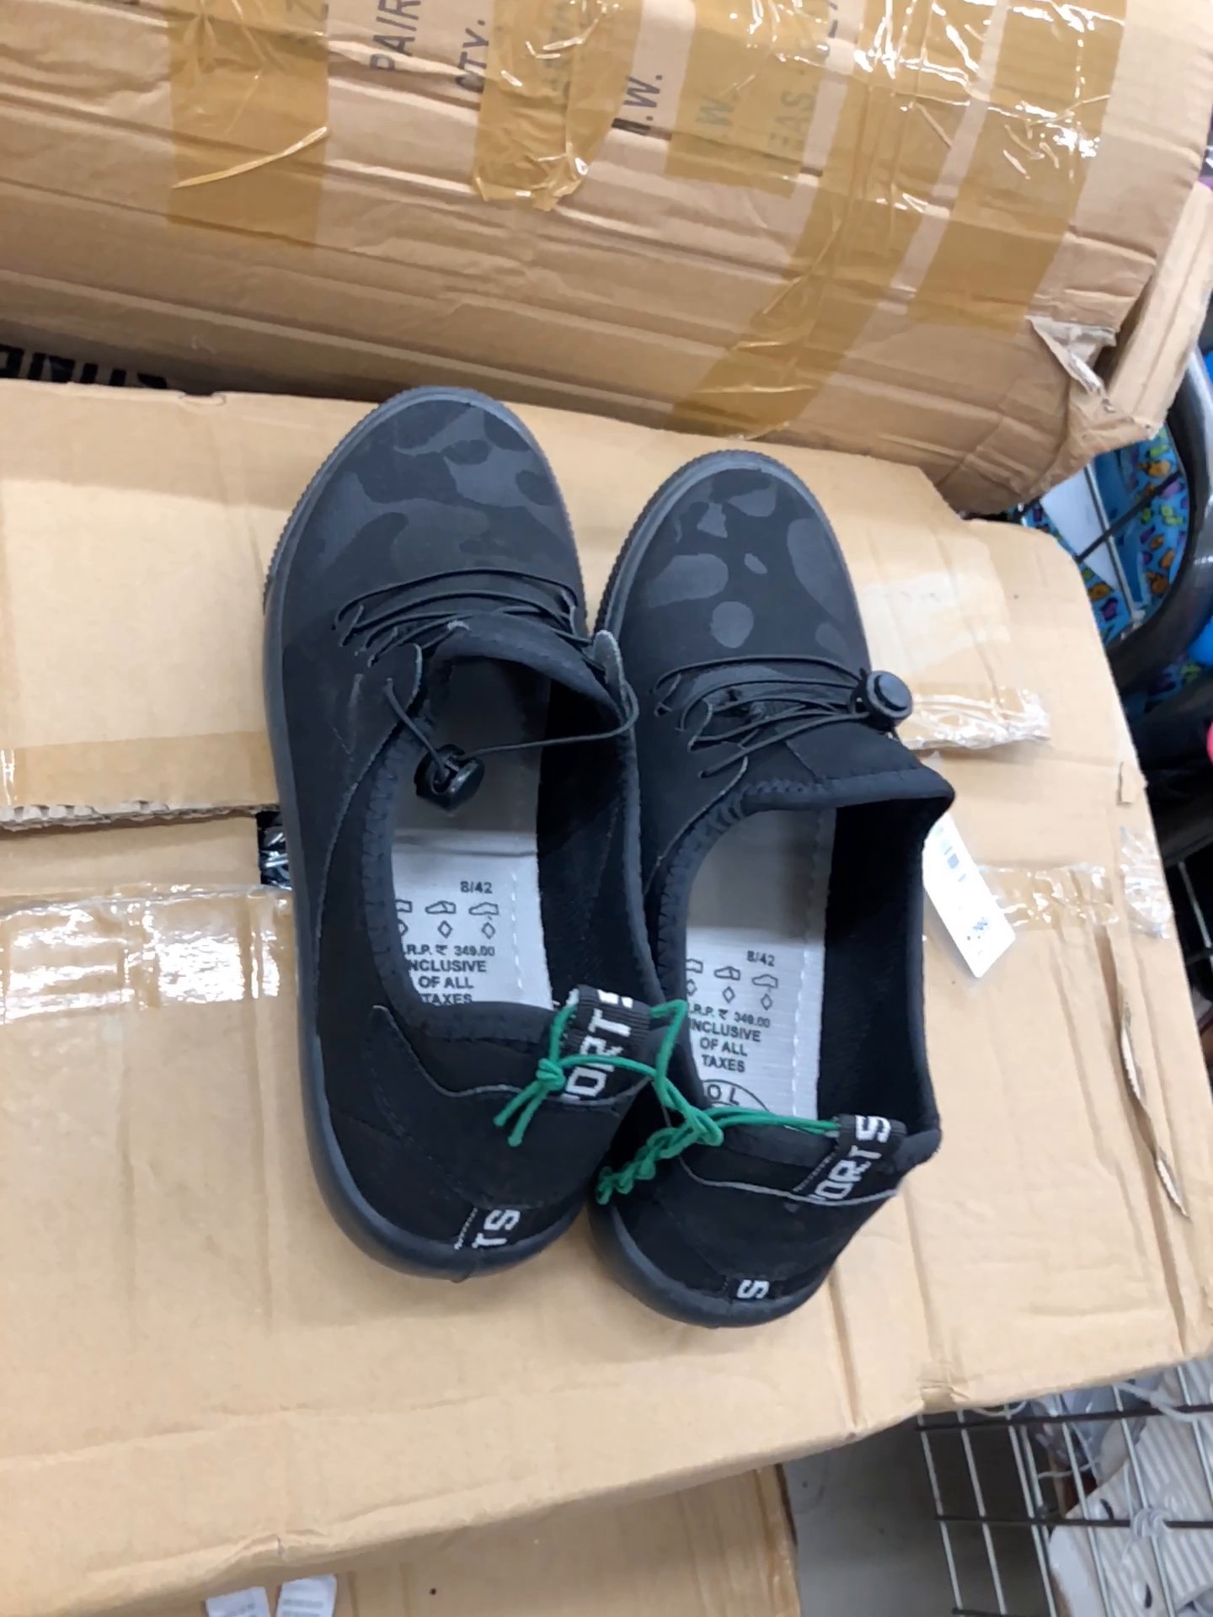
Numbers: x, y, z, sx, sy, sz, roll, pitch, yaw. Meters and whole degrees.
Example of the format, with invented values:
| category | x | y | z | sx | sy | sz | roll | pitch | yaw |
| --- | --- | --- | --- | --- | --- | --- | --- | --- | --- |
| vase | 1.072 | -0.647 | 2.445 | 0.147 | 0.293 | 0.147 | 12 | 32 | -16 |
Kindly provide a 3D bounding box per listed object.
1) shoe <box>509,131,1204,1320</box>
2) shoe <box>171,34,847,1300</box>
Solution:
| category | x | y | z | sx | sy | sz | roll | pitch | yaw |
| --- | --- | --- | --- | --- | --- | --- | --- | --- | --- |
| shoe | 0.048 | -0.025 | 0.405 | 0.120 | 0.129 | 0.321 | 7 | 62 | -19 |
| shoe | -0.039 | -0.038 | 0.372 | 0.120 | 0.129 | 0.311 | 6 | 62 | -20 |
